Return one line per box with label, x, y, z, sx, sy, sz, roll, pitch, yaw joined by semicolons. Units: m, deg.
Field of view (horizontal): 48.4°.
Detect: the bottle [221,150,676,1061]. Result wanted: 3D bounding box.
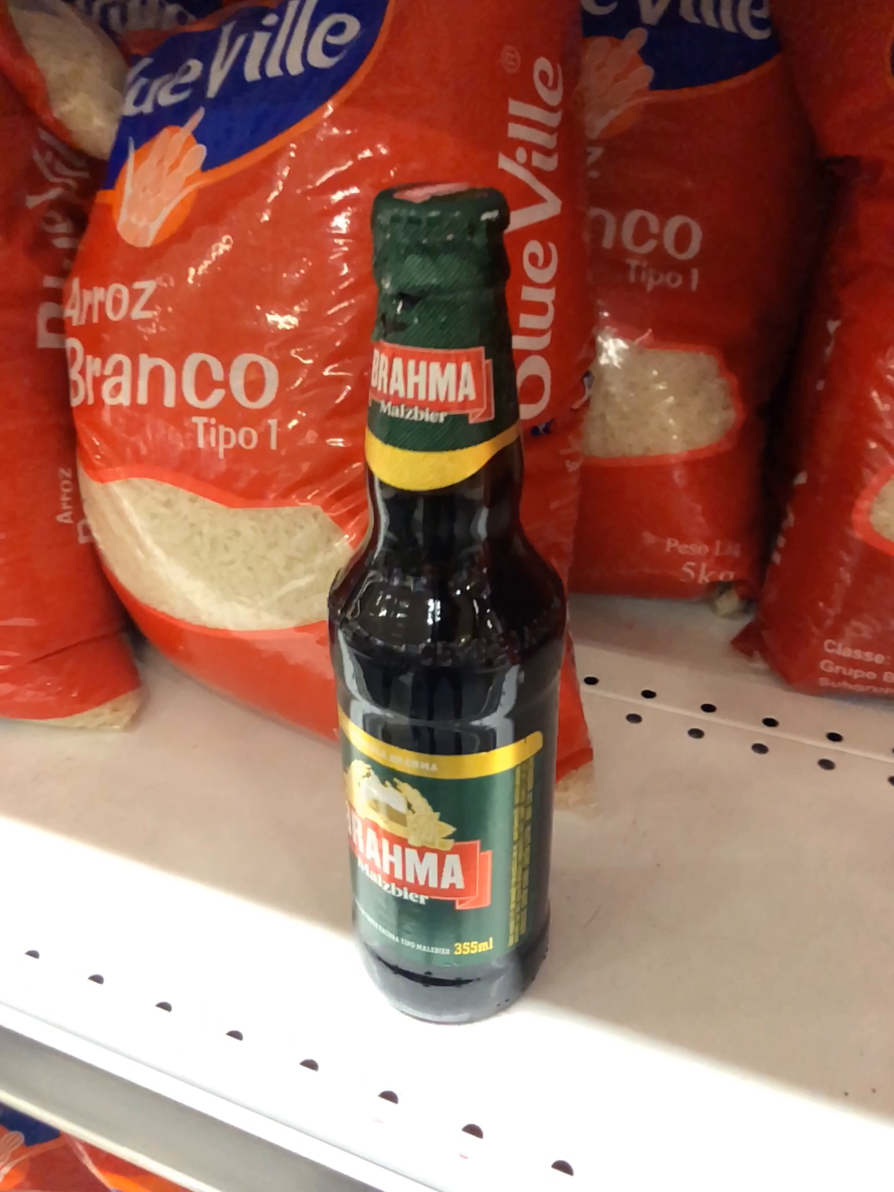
bottle;0.005;0.015;0.258;0.070;0.228;0.060;14;37;22
